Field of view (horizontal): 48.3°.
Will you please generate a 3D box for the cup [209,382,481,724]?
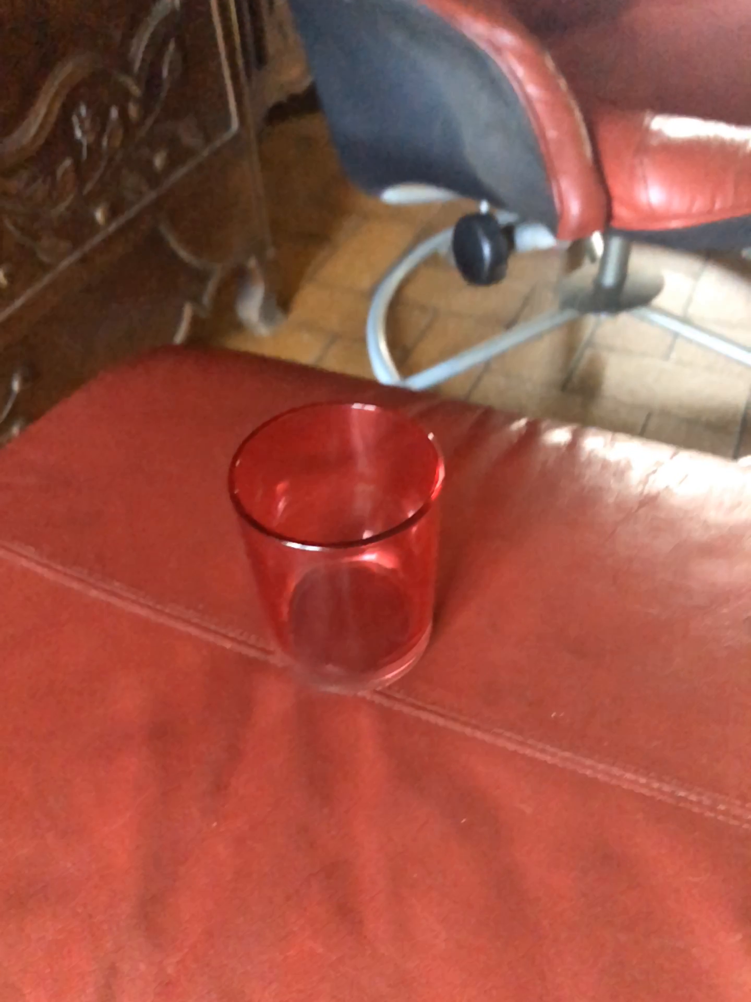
[{"bbox_3d":[-0.005,0.019,0.299,0.070,0.089,0.070,-2,46,2],"label":"cup"}]
